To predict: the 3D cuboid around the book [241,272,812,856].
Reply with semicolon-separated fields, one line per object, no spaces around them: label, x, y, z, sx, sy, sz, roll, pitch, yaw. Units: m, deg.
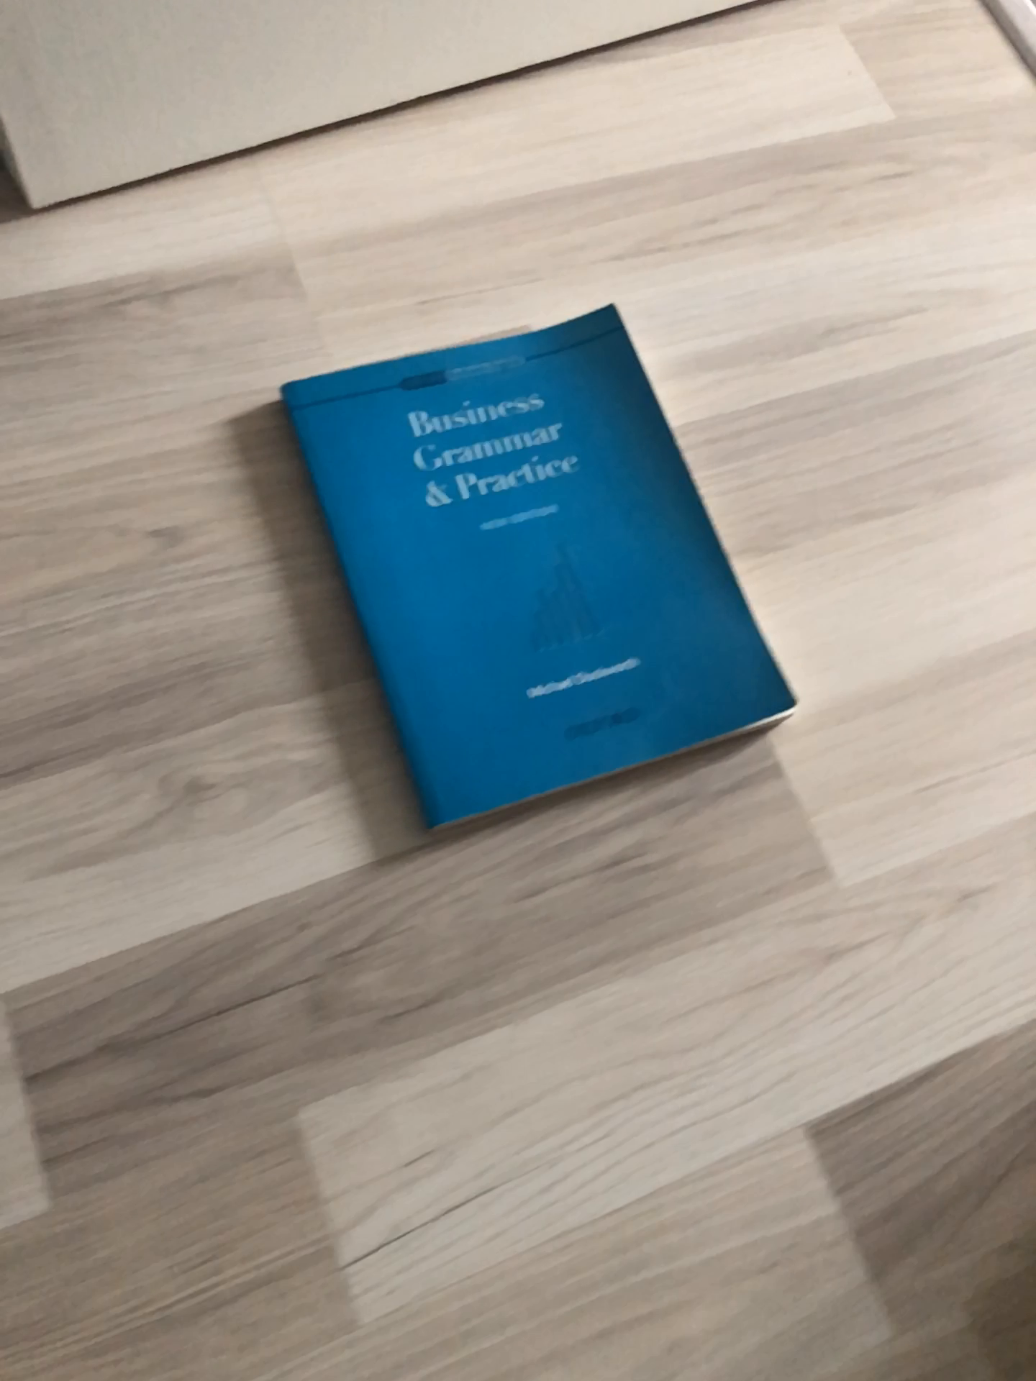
book;-0.002;-0.086;0.649;0.230;0.040;0.300;-16;71;-14
